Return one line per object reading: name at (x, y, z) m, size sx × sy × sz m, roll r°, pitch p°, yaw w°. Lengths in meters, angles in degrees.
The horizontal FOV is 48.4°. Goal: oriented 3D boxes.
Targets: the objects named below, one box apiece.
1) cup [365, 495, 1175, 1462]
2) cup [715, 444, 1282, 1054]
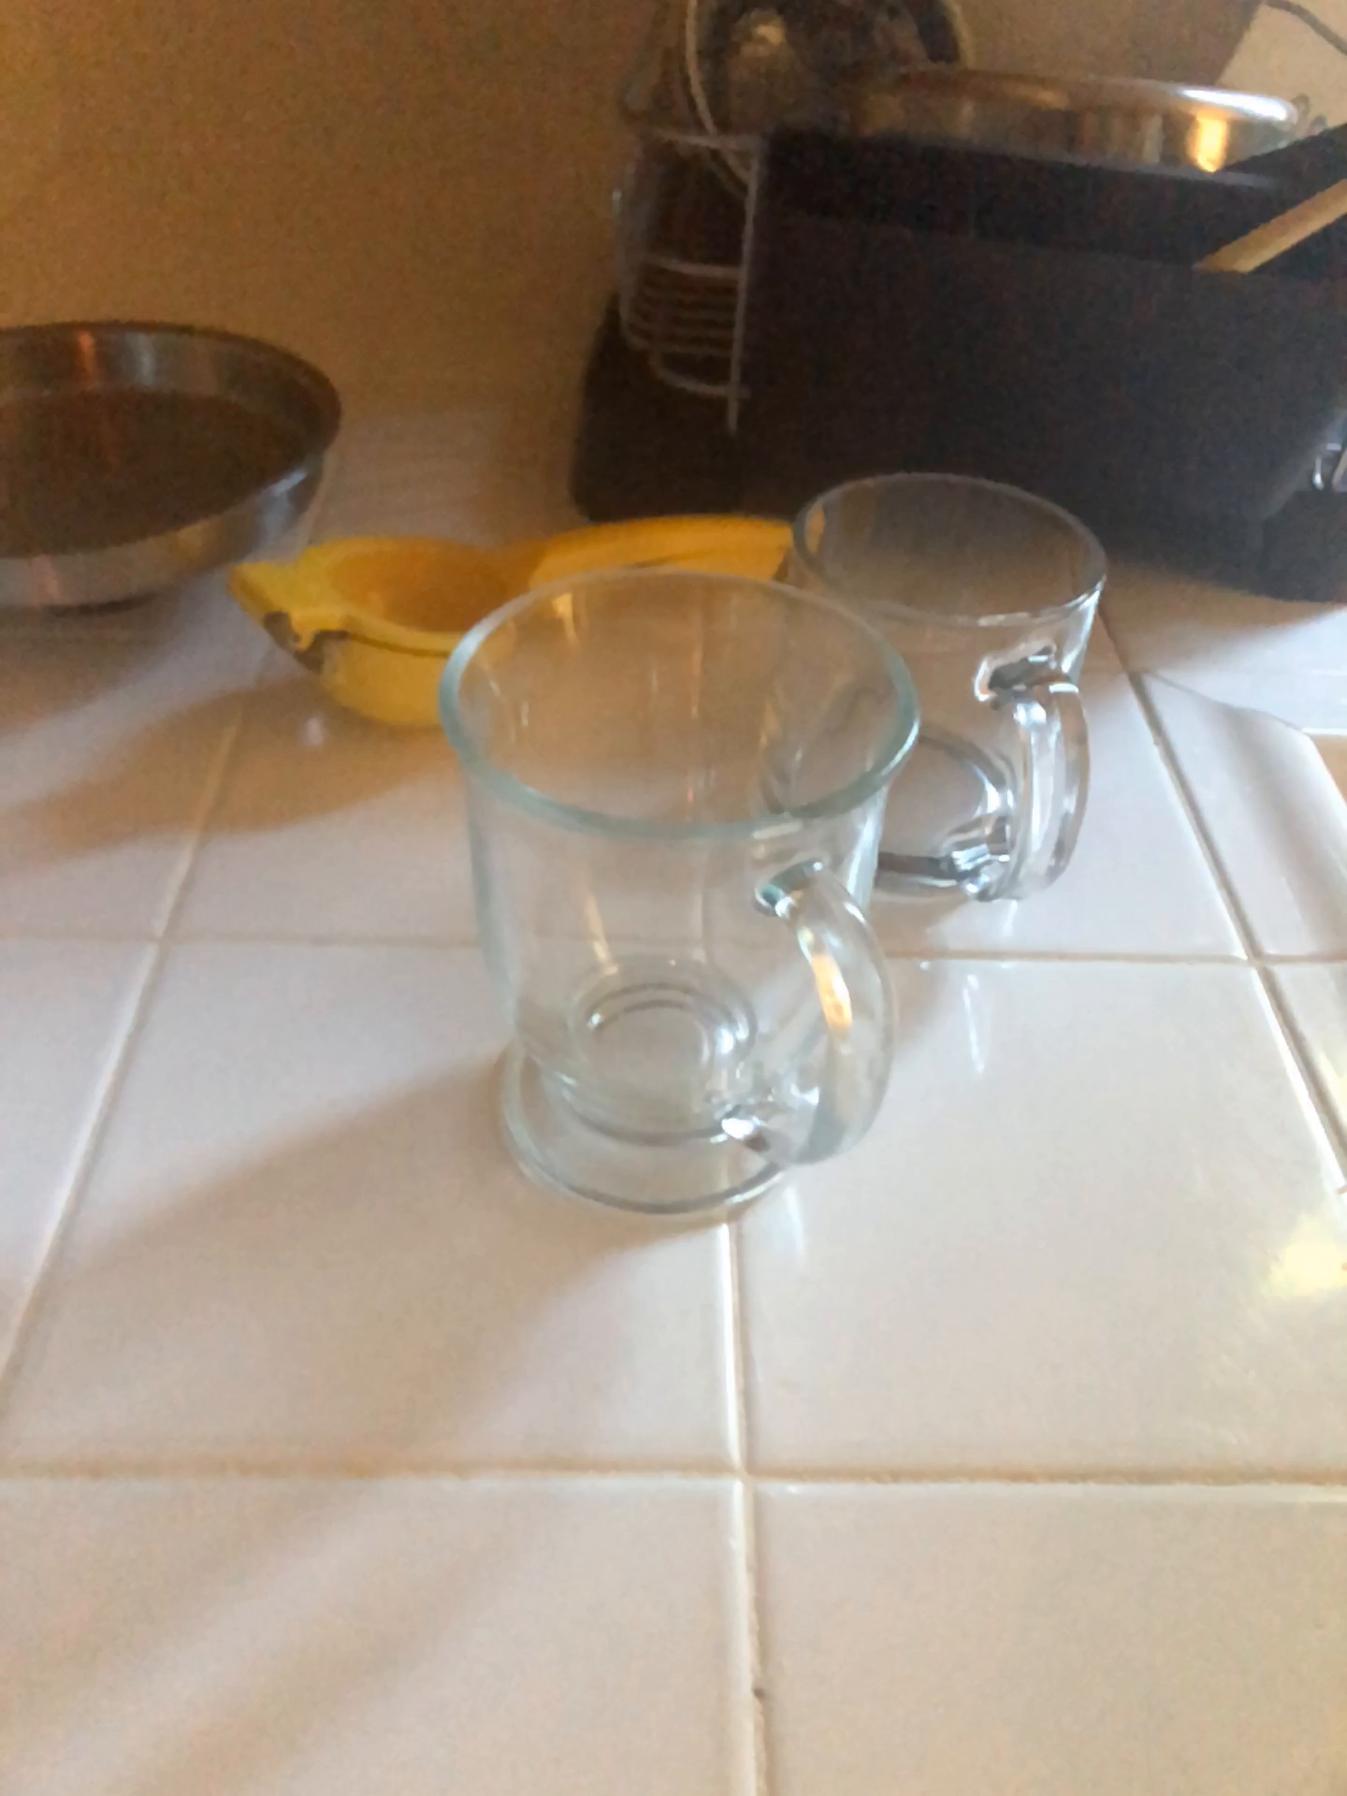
cup at (0.011, 0.013, 0.328) m, size 0.090 × 0.139 × 0.130 m, roll -25°, pitch 48°, yaw -29°
cup at (0.081, -0.046, 0.426) m, size 0.090 × 0.109 × 0.121 m, roll -13°, pitch 44°, yaw -19°
